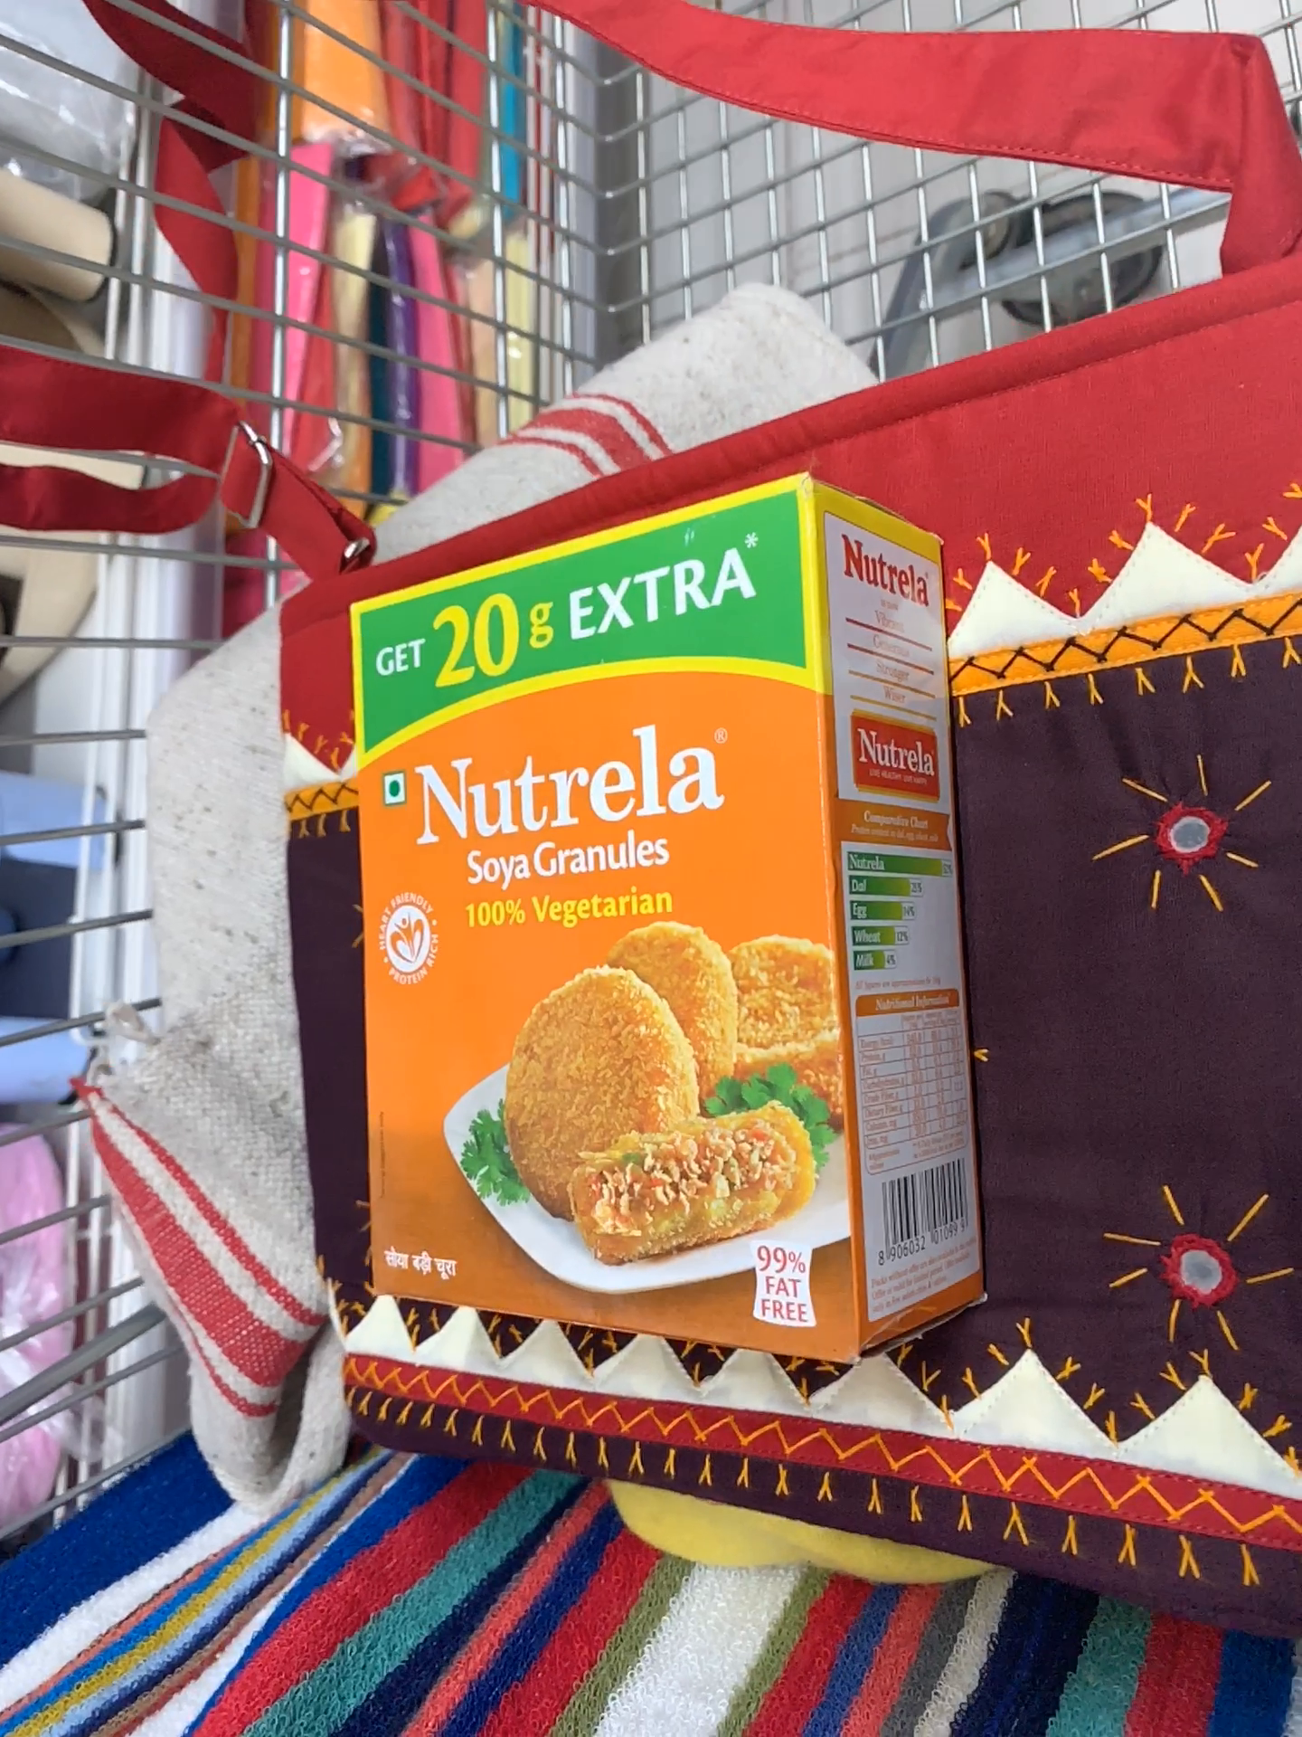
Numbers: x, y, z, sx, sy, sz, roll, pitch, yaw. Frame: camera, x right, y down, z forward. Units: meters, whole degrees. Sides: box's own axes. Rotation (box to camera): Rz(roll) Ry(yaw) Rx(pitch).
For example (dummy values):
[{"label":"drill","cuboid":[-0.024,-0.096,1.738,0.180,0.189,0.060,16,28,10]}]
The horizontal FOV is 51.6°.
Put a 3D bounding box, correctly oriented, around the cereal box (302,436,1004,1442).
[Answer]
[{"label":"cereal box","cuboid":[-0.005,0.015,0.261,0.121,0.060,0.150,-6,83,37]}]
